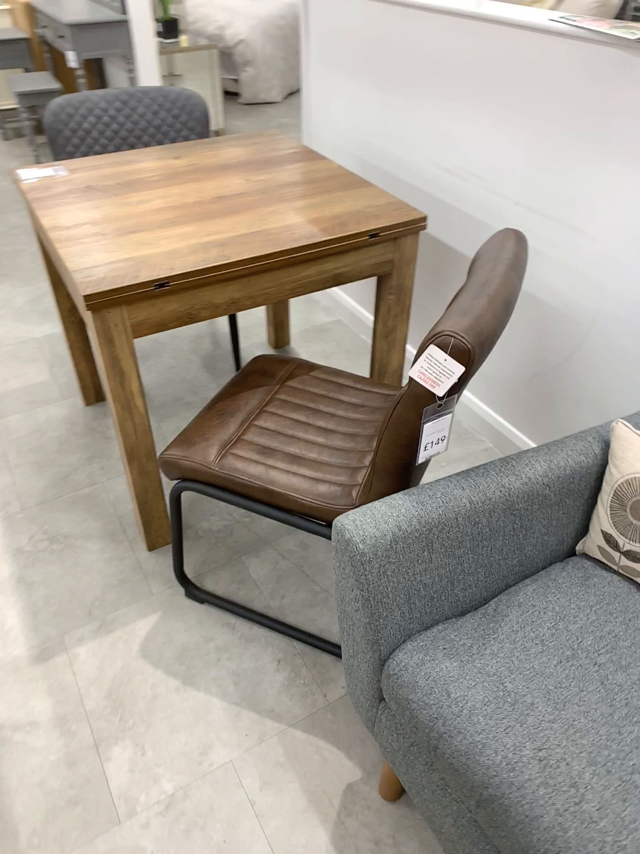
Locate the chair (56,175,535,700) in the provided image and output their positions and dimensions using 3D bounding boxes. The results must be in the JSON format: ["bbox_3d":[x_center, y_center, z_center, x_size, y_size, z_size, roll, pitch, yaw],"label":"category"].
[{"bbox_3d":[-0.014,0.006,1.316,0.633,0.773,0.502,16,42,19],"label":"chair"}]
